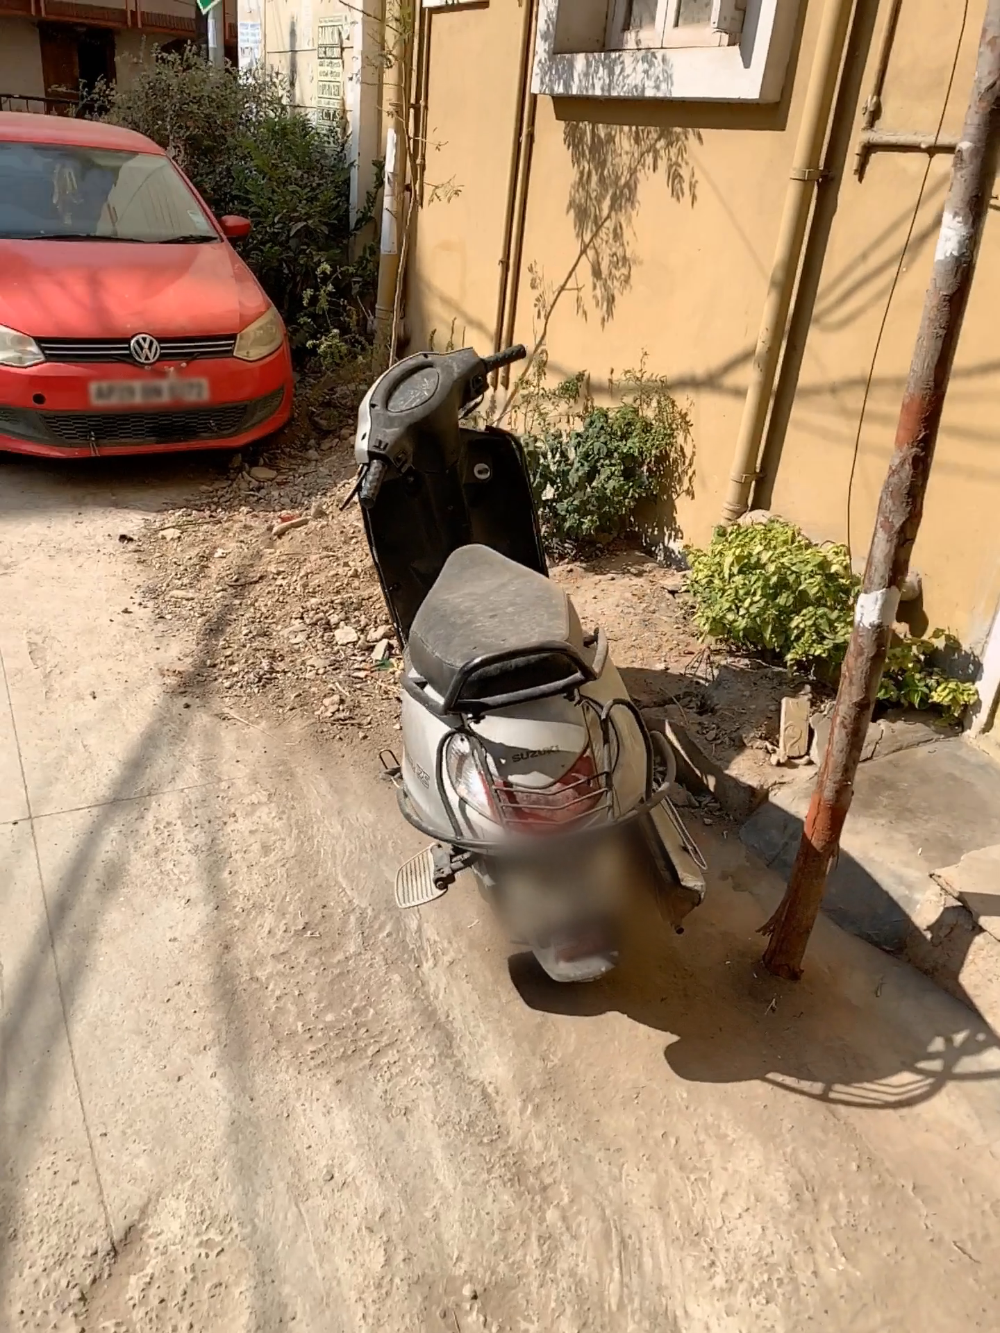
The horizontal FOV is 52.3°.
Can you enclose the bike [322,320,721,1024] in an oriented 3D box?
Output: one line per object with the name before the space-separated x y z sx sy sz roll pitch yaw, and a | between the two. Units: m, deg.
bike | -0.111 -0.148 2.343 0.549 1.000 1.516 0 27 -12
